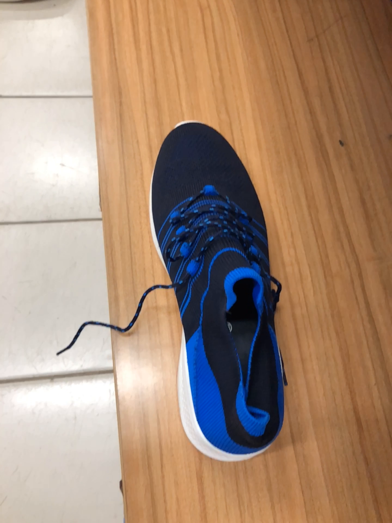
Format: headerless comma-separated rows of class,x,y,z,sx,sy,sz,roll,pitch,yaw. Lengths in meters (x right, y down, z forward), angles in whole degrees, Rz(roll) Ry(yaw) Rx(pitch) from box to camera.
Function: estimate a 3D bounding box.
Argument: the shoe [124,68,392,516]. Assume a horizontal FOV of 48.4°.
shoe,0.022,0.011,0.309,0.110,0.110,0.260,-7,72,-10
